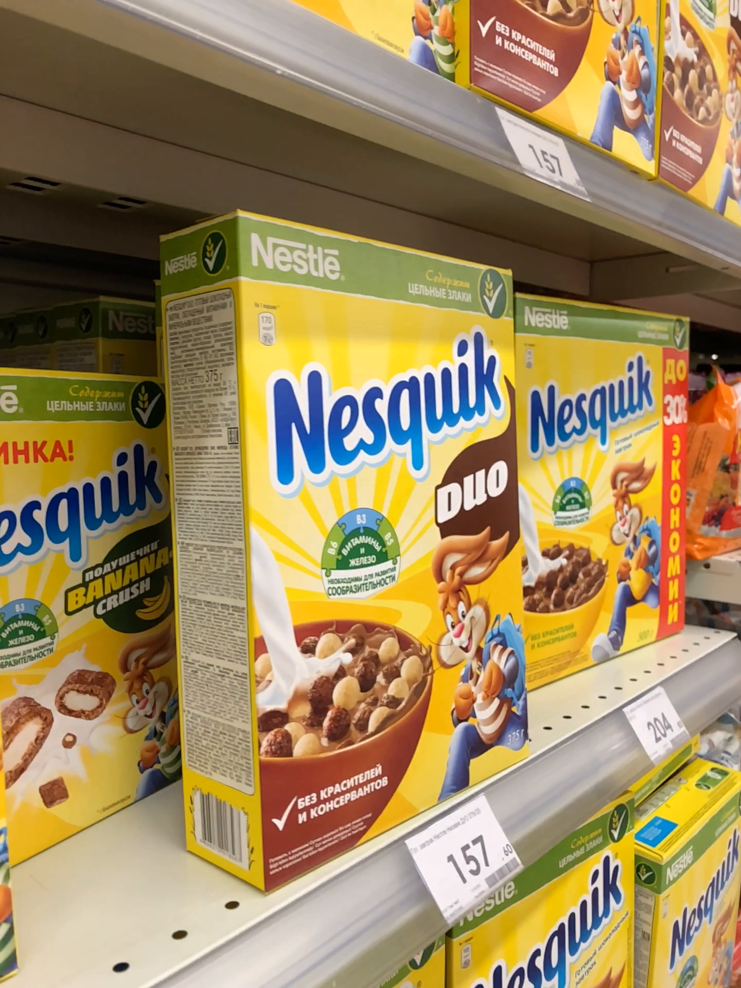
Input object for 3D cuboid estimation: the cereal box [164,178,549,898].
[{"bbox_3d":[0.006,0.013,0.409,0.060,0.280,0.200,0,3,44],"label":"cereal box"}]
